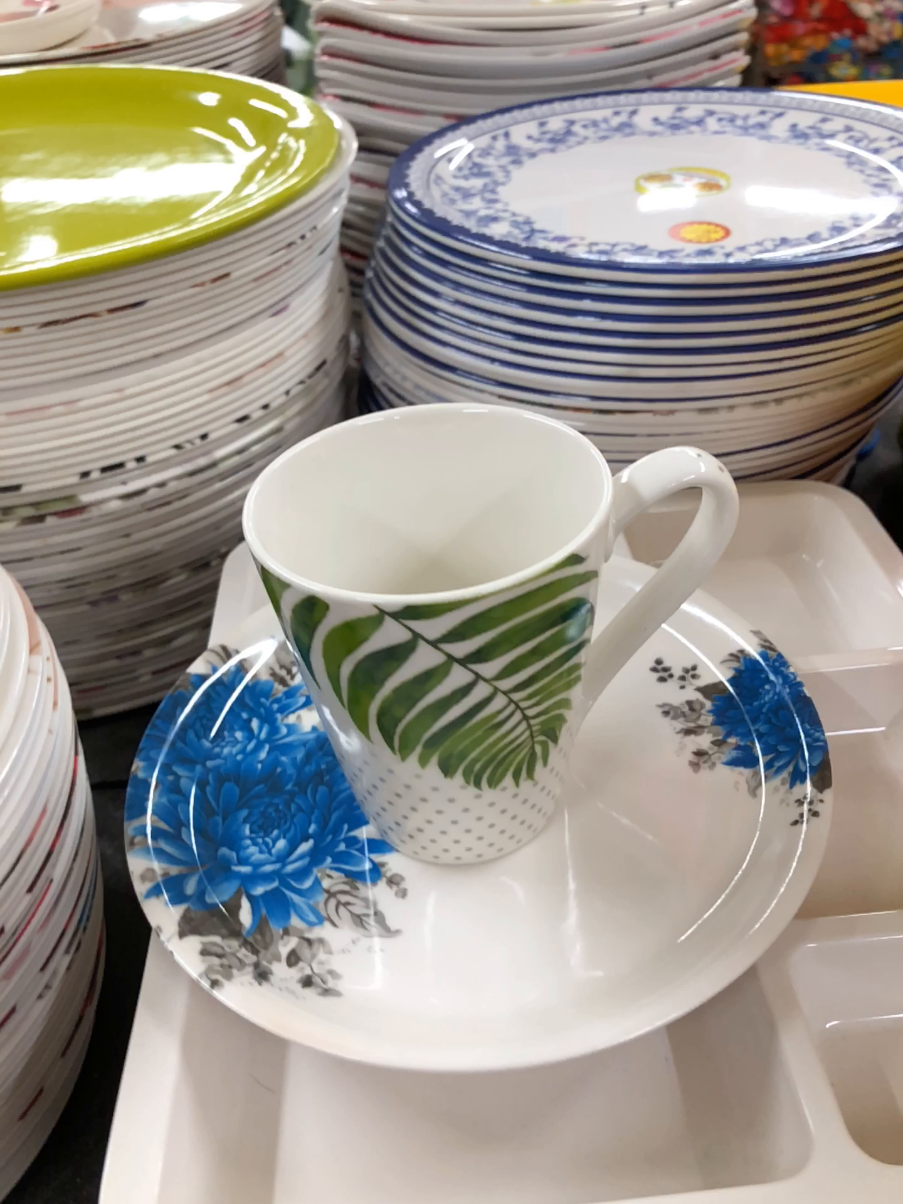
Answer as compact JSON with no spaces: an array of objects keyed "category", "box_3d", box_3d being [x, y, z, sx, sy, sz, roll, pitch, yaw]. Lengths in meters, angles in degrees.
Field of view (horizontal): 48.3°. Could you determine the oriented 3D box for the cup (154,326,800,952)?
[{"category":"cup","box_3d":[0.007,0.002,0.252,0.120,0.089,0.080,-24,42,-22]}]
